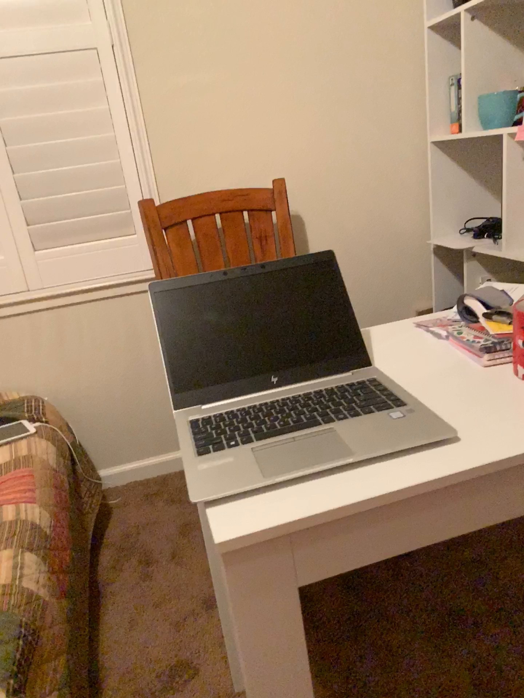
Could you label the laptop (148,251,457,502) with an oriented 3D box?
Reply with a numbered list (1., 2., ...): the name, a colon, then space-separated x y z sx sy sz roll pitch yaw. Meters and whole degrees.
1. laptop: 0.023 -0.004 0.729 0.310 0.159 0.366 -12 20 -11
